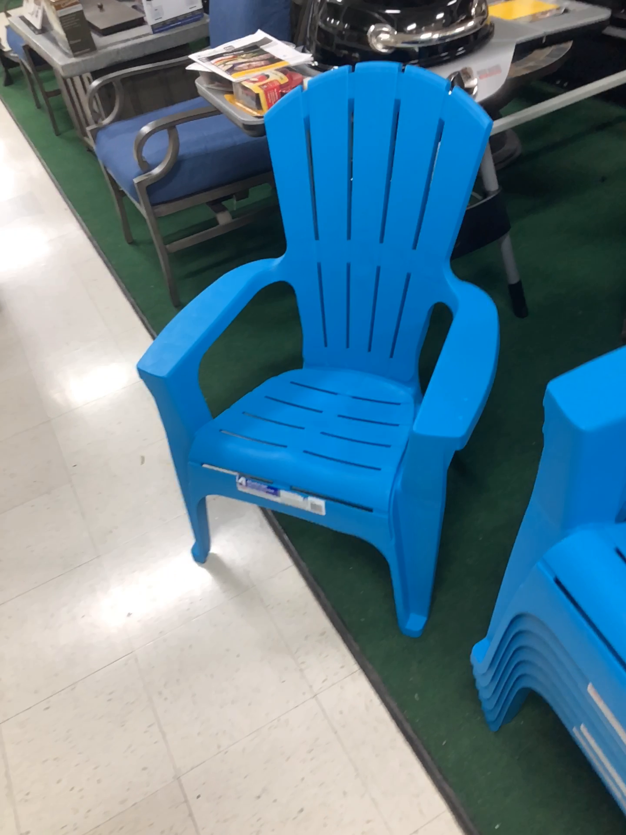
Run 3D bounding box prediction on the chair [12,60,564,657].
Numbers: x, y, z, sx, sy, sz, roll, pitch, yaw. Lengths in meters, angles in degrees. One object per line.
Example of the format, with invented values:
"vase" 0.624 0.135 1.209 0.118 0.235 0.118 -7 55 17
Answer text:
"chair" 0.047 -0.127 1.428 0.683 0.932 0.648 13 49 23
